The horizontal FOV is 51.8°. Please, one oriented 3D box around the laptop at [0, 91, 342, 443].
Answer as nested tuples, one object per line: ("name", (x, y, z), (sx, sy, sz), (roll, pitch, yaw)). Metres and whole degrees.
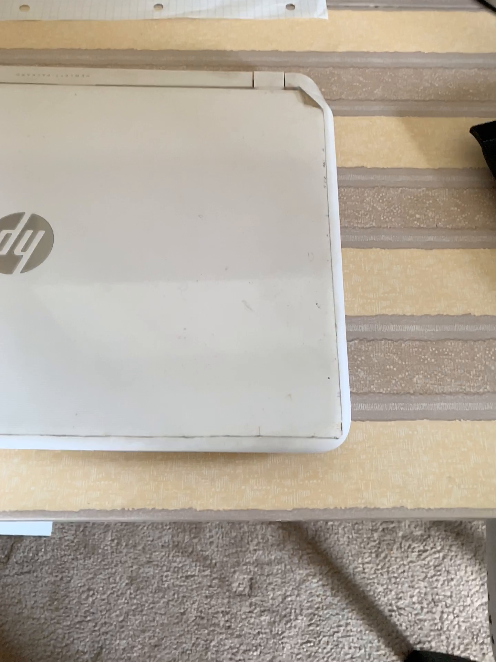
("laptop", (-0.132, -0.052, 0.300), (0.363, 0.002, 0.229), (1, 68, 0))
